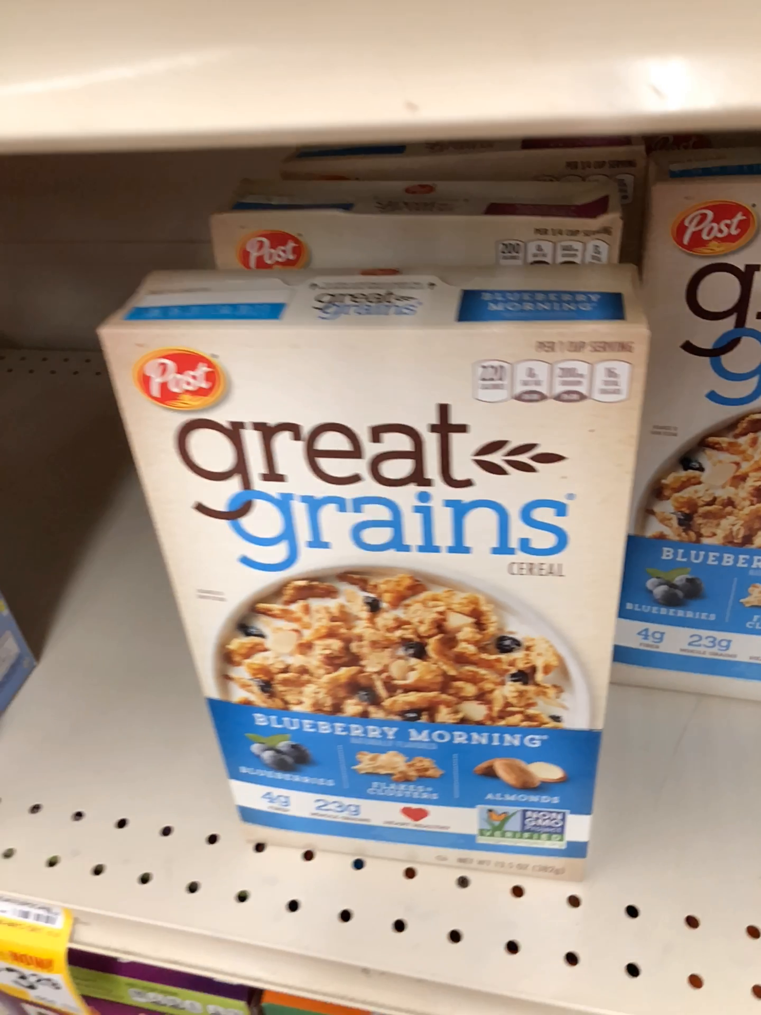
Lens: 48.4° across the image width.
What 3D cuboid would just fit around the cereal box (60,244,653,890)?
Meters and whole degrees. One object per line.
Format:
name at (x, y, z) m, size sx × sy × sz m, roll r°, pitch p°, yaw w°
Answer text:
cereal box at (0.004, 0.041, 0.353) m, size 0.180 × 0.279 × 0.060 m, roll 2°, pitch 35°, yaw 12°
